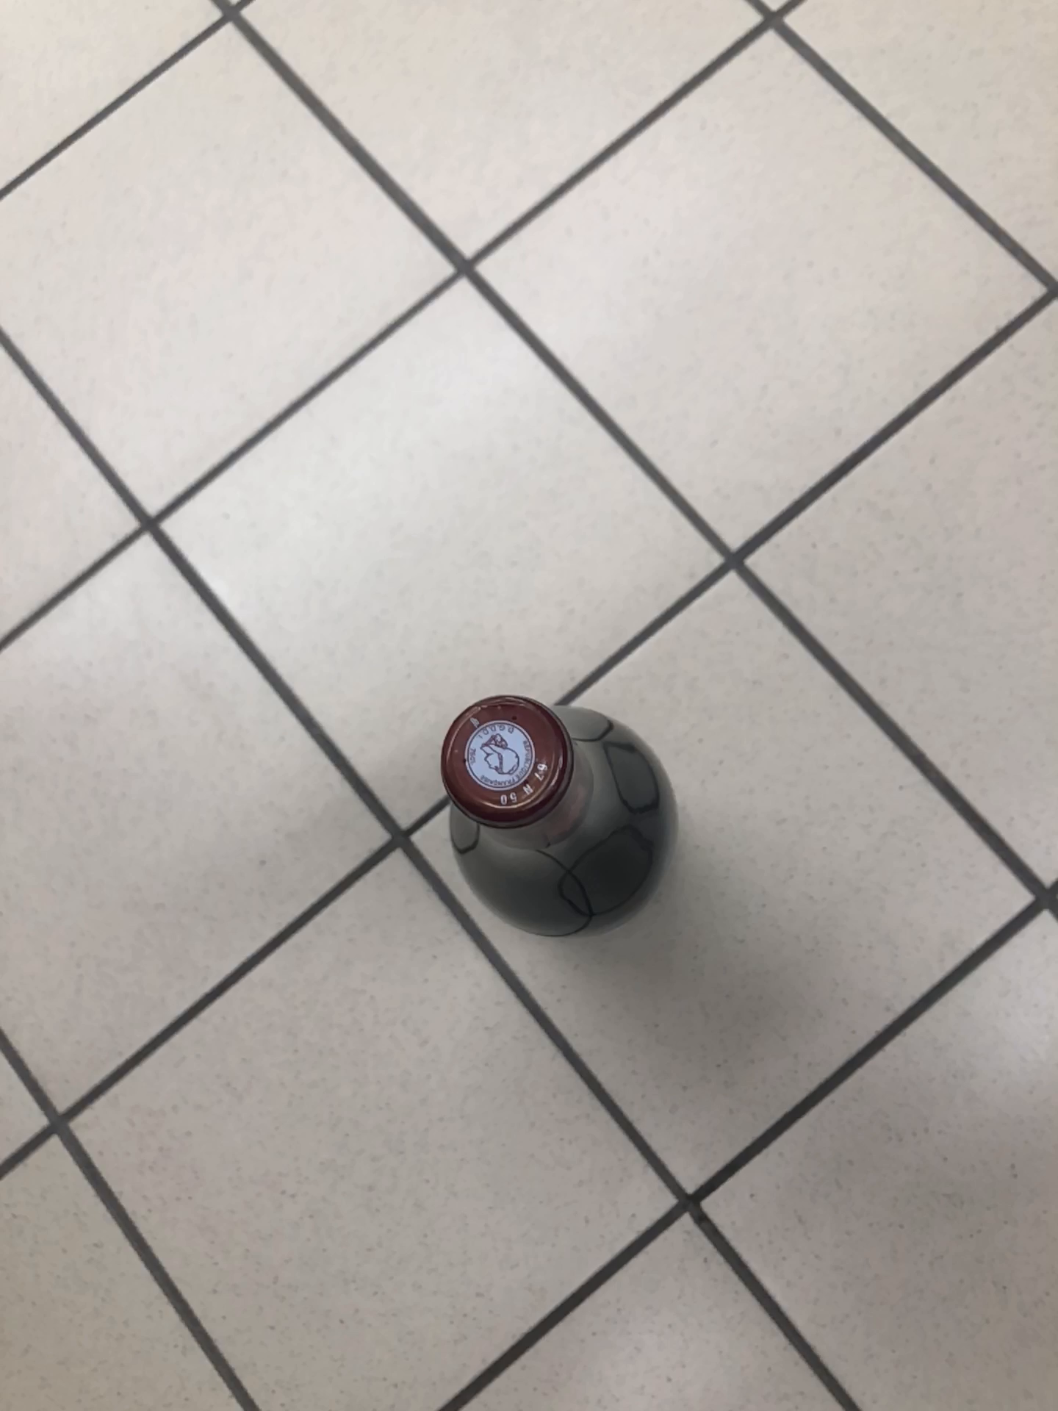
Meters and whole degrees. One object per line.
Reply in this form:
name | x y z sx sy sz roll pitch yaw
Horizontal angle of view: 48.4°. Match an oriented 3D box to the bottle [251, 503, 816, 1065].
bottle | 0.016 0.040 0.386 0.090 0.290 0.090 -1 79 6
